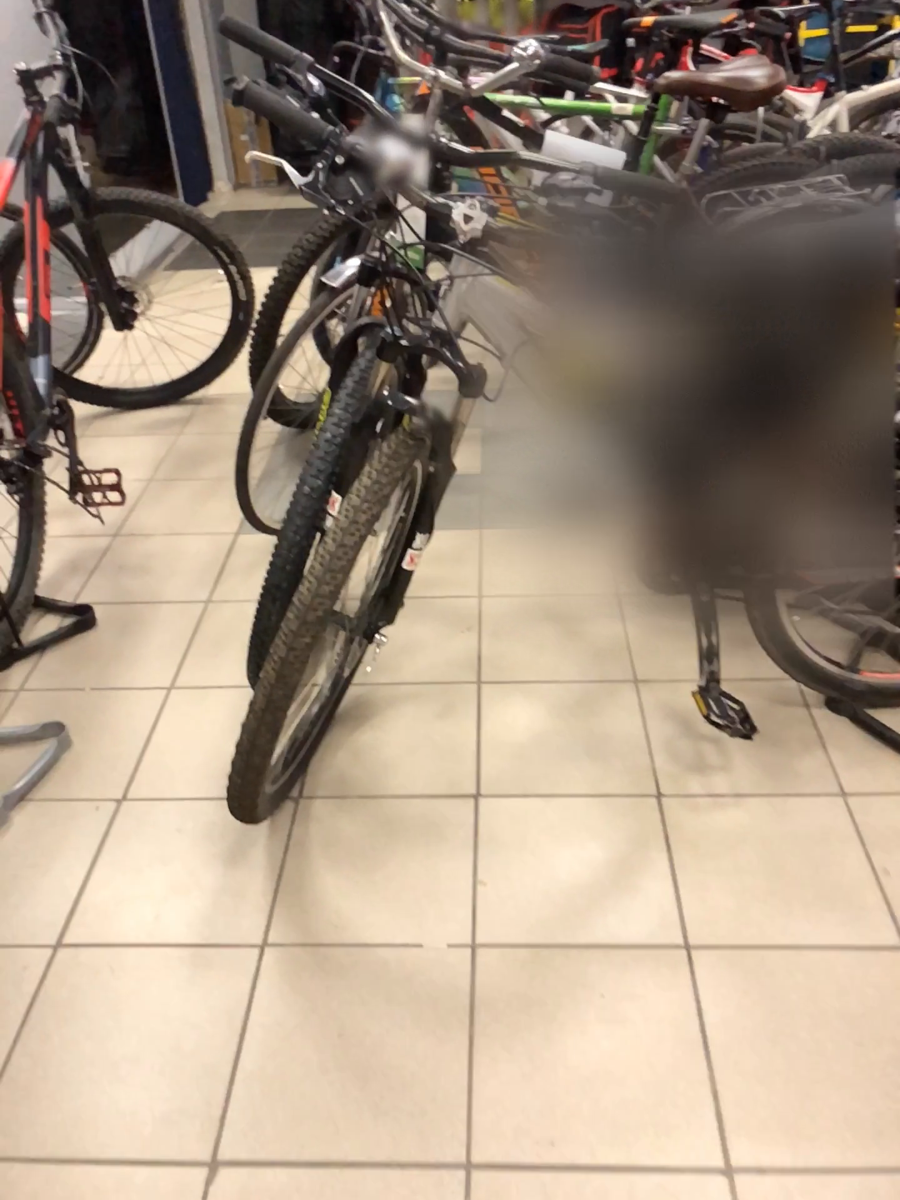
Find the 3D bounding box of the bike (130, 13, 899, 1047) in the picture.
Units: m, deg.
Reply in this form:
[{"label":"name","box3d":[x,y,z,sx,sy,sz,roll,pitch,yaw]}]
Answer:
[{"label":"bike","box3d":[0.428,-0.191,1.333,1.425,1.012,0.628,-10,33,-15]}]
